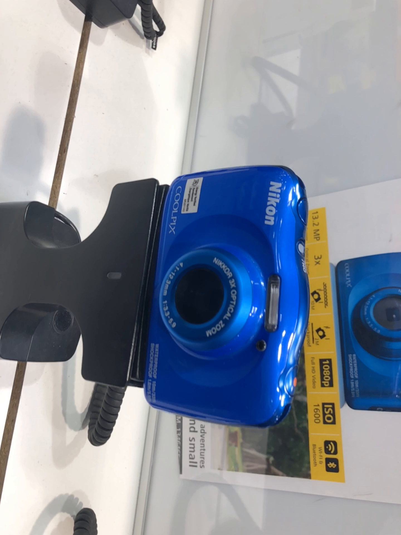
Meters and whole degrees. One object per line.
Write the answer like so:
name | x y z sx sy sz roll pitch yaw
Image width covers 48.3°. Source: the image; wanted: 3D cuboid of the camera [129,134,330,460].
camera | 0.018 0.013 0.215 0.050 0.070 0.130 25 68 -57
